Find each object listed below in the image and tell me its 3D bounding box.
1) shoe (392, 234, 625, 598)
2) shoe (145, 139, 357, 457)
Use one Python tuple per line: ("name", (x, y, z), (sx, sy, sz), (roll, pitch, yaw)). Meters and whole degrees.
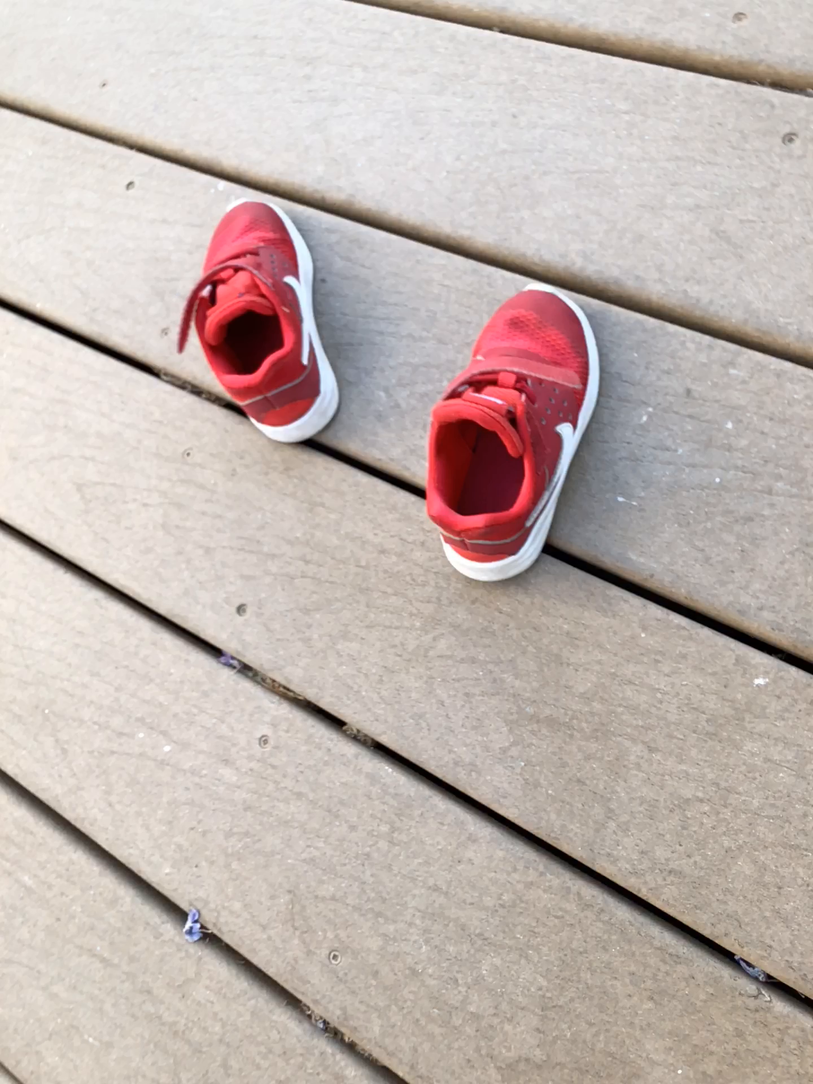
("shoe", (0.056, -0.063, 0.463), (0.070, 0.069, 0.164), (12, 82, 21))
("shoe", (-0.092, -0.142, 0.535), (0.073, 0.069, 0.153), (-19, 73, 14))
